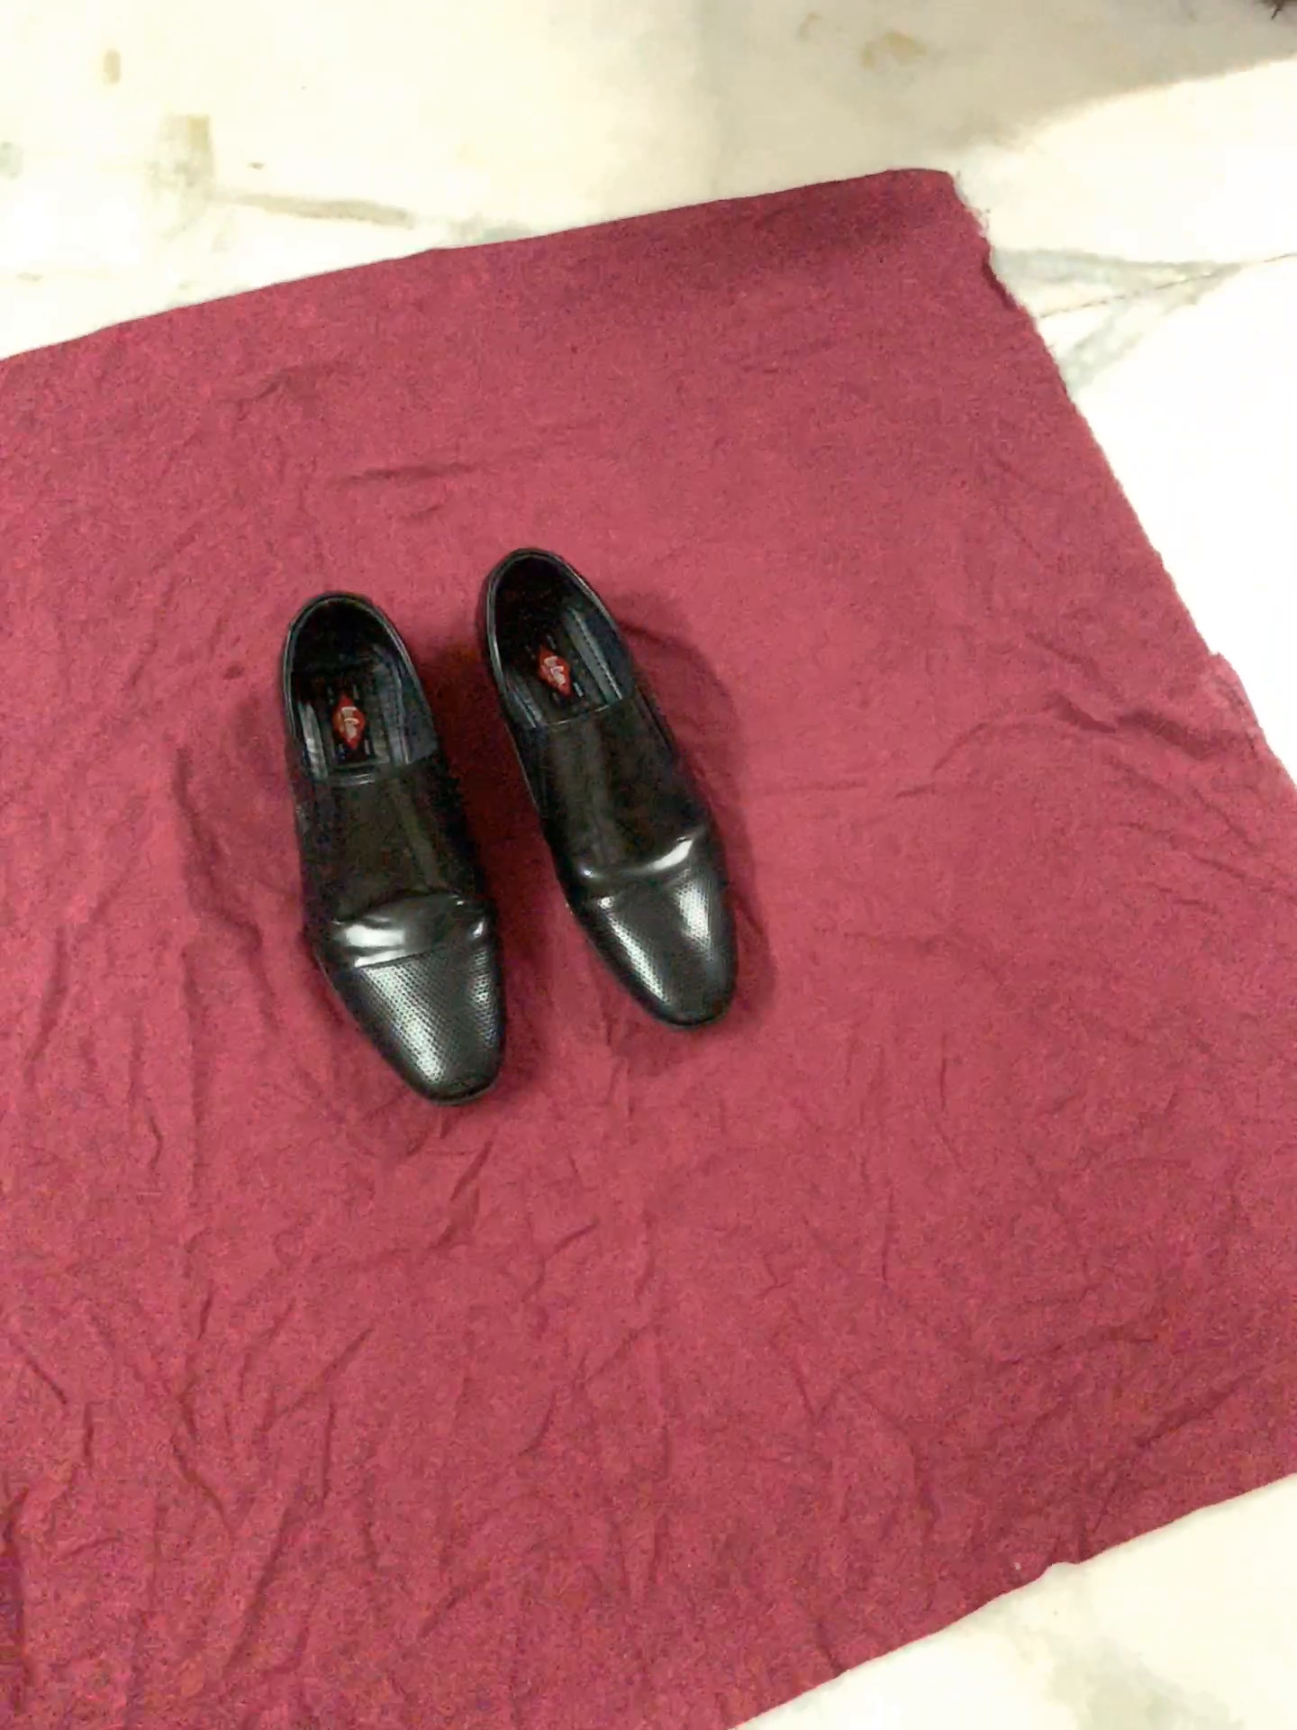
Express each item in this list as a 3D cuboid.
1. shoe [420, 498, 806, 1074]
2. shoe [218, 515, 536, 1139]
[{"bbox_3d":[-0.027,-0.046,0.738,0.100,0.100,0.291,-20,71,-12],"label":"shoe"},{"bbox_3d":[-0.143,-0.023,0.700,0.100,0.100,0.301,-13,70,-9],"label":"shoe"}]
